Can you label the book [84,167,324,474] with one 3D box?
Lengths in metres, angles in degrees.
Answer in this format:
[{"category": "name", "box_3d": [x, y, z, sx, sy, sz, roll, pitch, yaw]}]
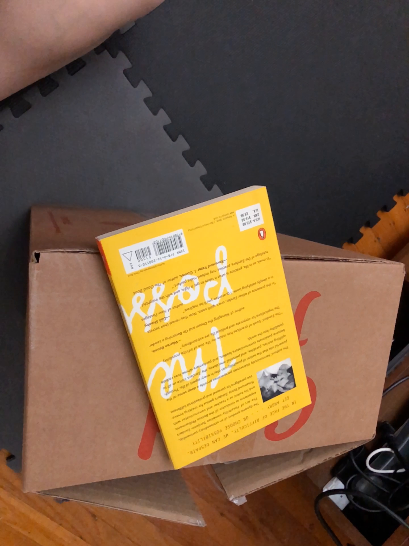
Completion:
[{"category": "book", "box_3d": [0.011, 0.039, 0.367, 0.150, 0.020, 0.210, -20, 108, -17]}]
